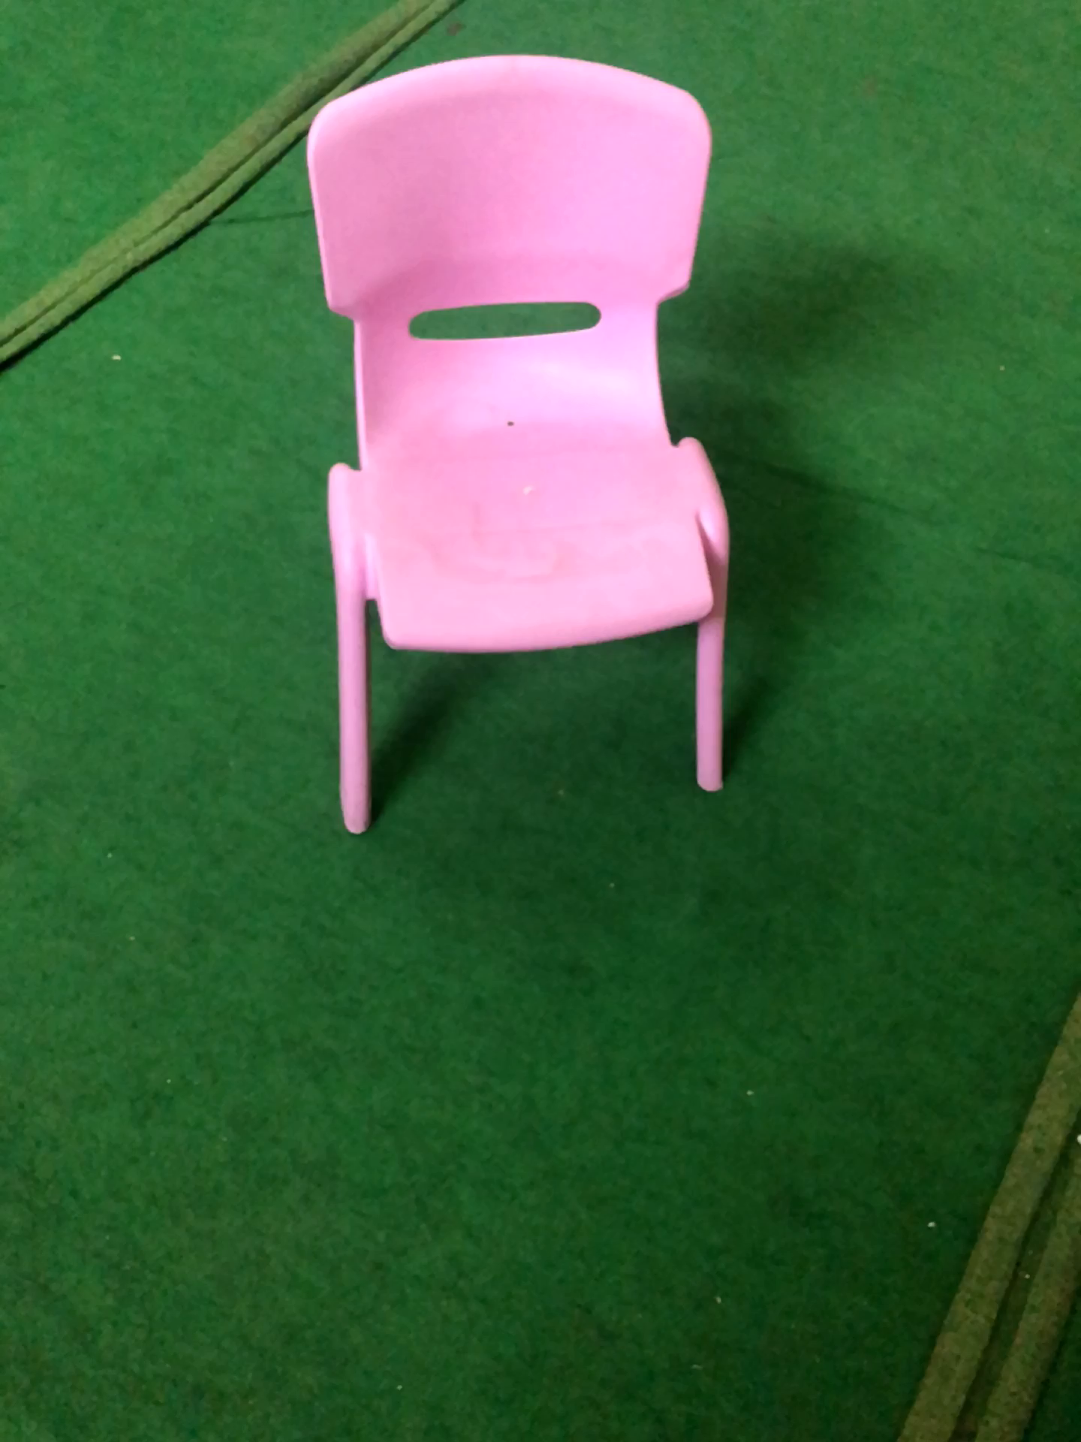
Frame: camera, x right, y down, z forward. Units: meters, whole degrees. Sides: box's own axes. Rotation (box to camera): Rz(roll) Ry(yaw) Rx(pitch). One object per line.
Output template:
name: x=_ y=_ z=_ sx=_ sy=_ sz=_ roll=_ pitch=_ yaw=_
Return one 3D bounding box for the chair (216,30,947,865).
chair: x=-0.012 y=-0.196 z=0.946 sx=0.380 sy=0.449 sz=0.411 roll=-8 pitch=60 yaw=-10
